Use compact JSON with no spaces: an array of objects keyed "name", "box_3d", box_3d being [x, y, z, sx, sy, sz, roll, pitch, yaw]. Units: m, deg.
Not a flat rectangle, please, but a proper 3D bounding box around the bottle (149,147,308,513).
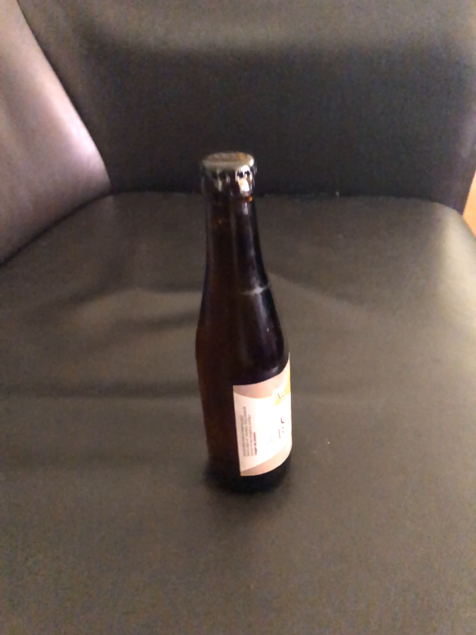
[{"name":"bottle","box_3d":[0.005,0.016,0.303,0.060,0.209,0.060,-3,33,2]}]
